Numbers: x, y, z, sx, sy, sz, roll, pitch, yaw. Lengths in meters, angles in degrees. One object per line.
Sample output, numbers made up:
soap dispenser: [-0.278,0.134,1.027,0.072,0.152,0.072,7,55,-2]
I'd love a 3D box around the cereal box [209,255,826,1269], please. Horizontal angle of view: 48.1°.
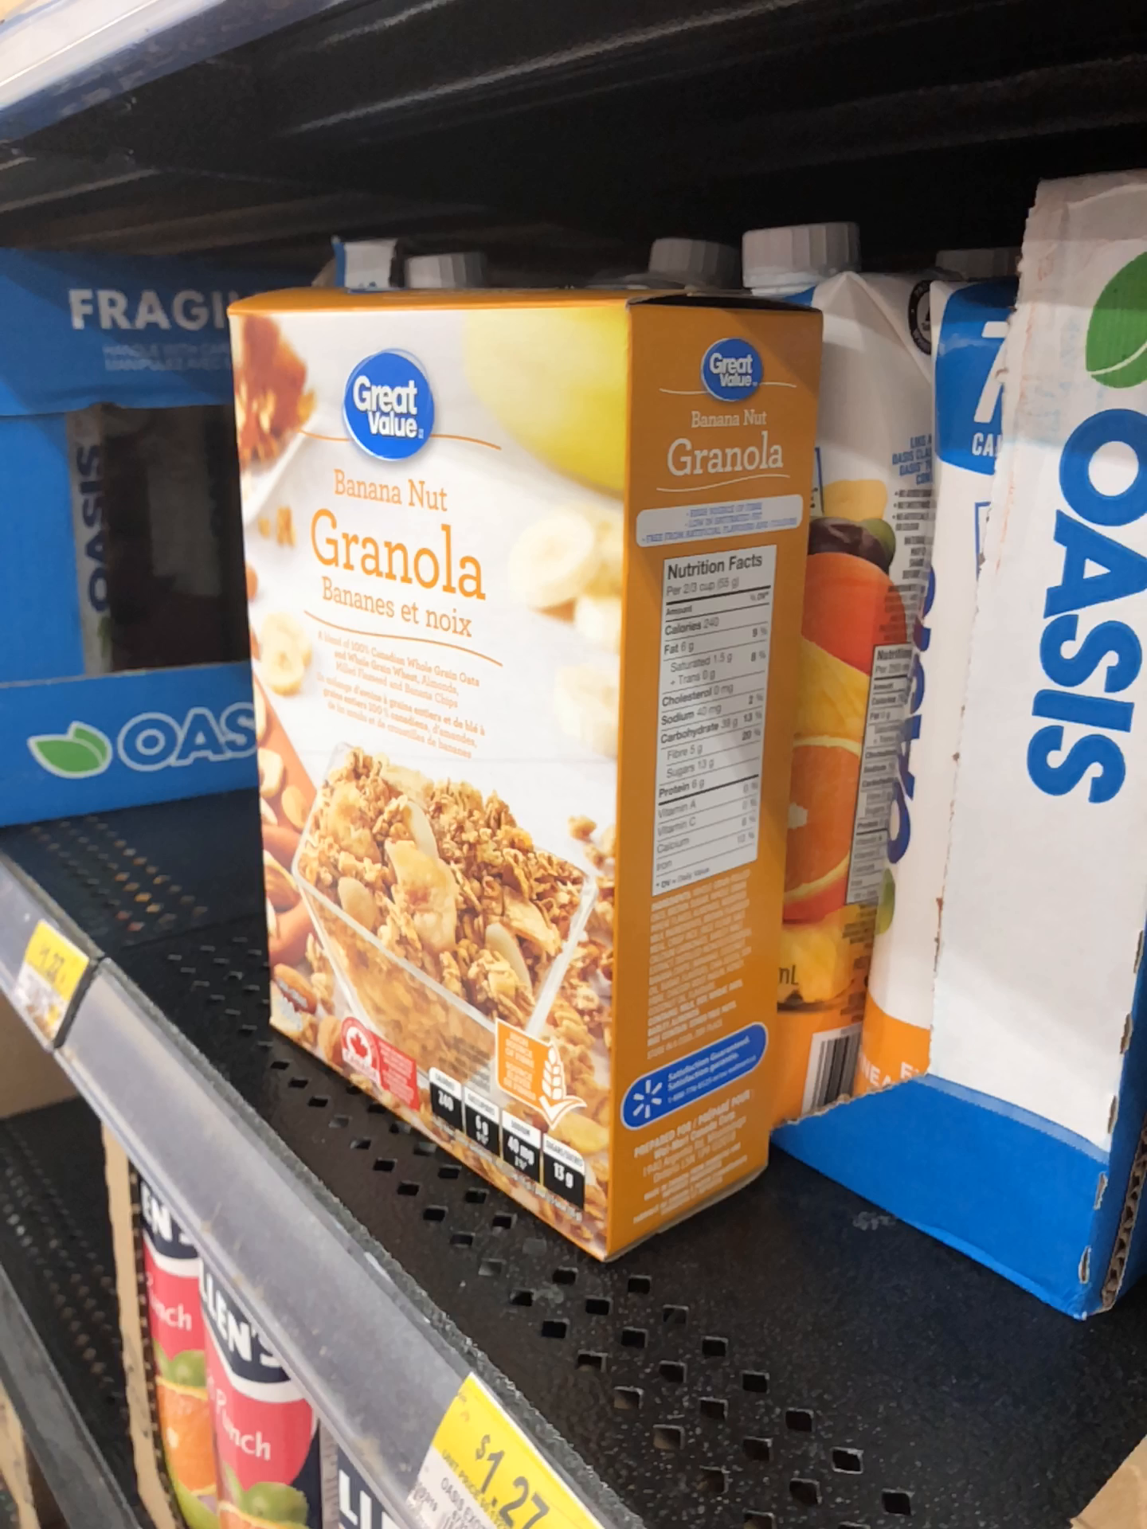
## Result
cereal box: [-0.026,-0.012,0.342,0.060,0.219,0.160,-13,22,-41]
